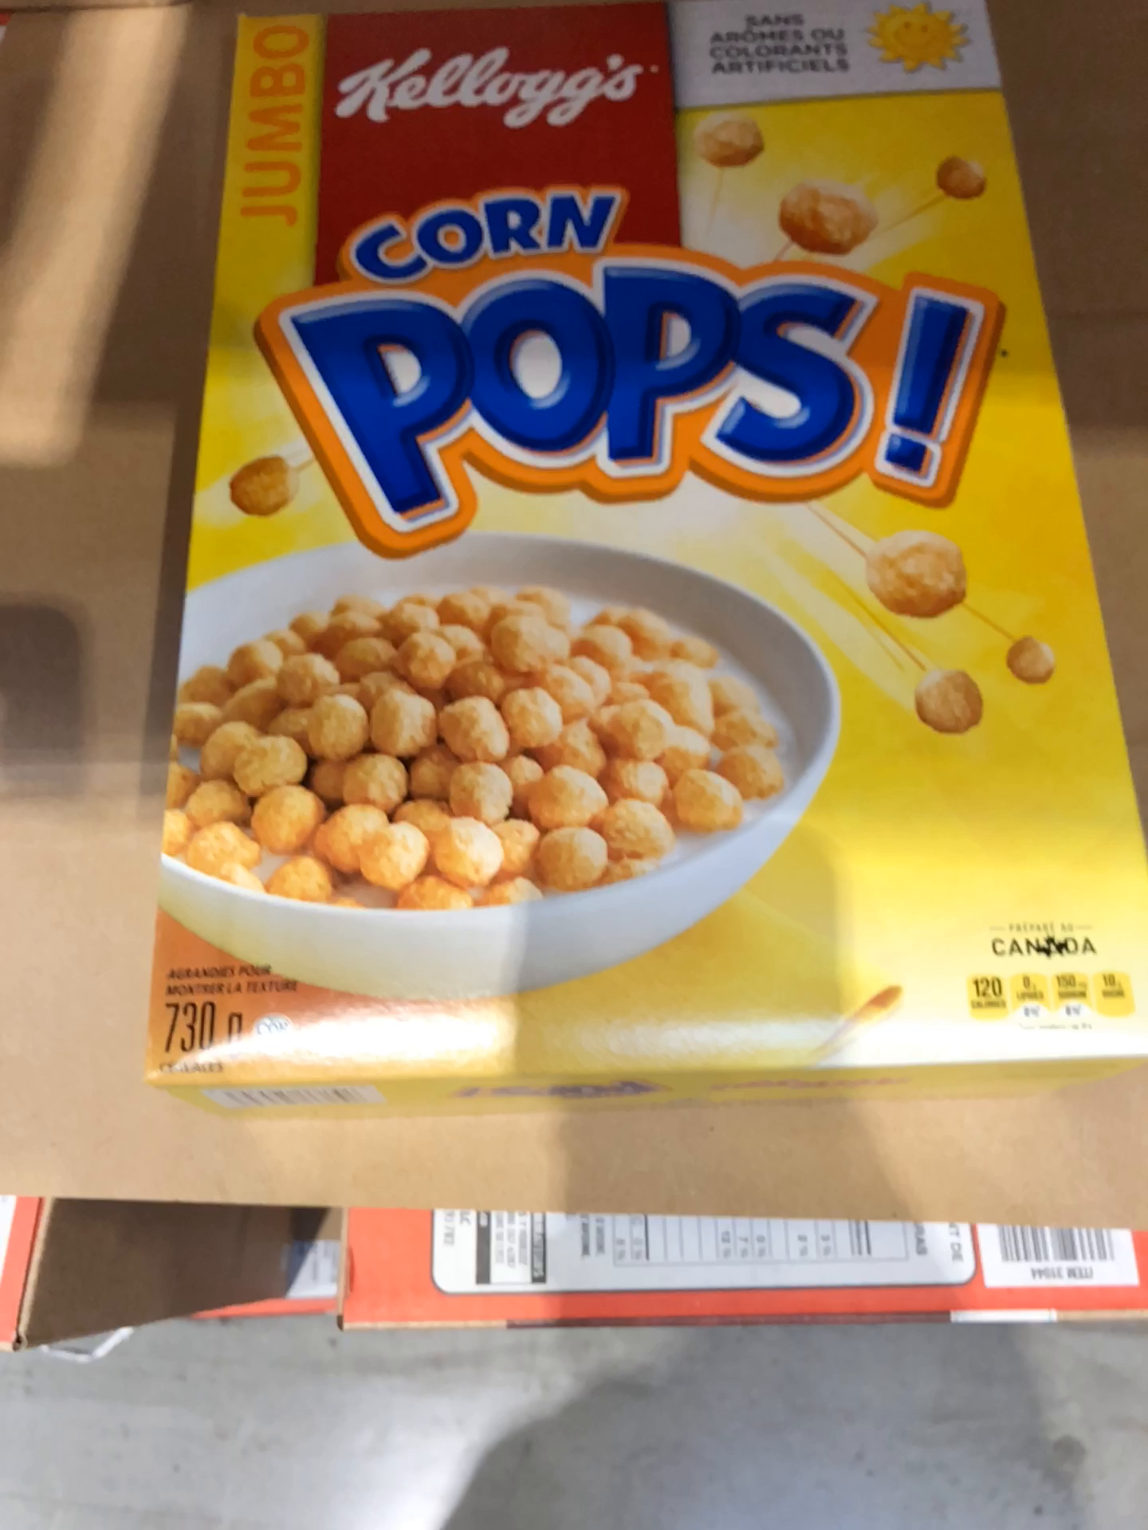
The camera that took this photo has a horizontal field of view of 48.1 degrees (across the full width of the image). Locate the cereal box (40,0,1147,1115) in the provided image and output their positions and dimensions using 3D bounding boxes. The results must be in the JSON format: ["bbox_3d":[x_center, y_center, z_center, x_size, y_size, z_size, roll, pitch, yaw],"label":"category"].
[{"bbox_3d":[0.015,-0.076,0.392,0.270,0.100,0.340,-1,69,1],"label":"cereal box"}]
